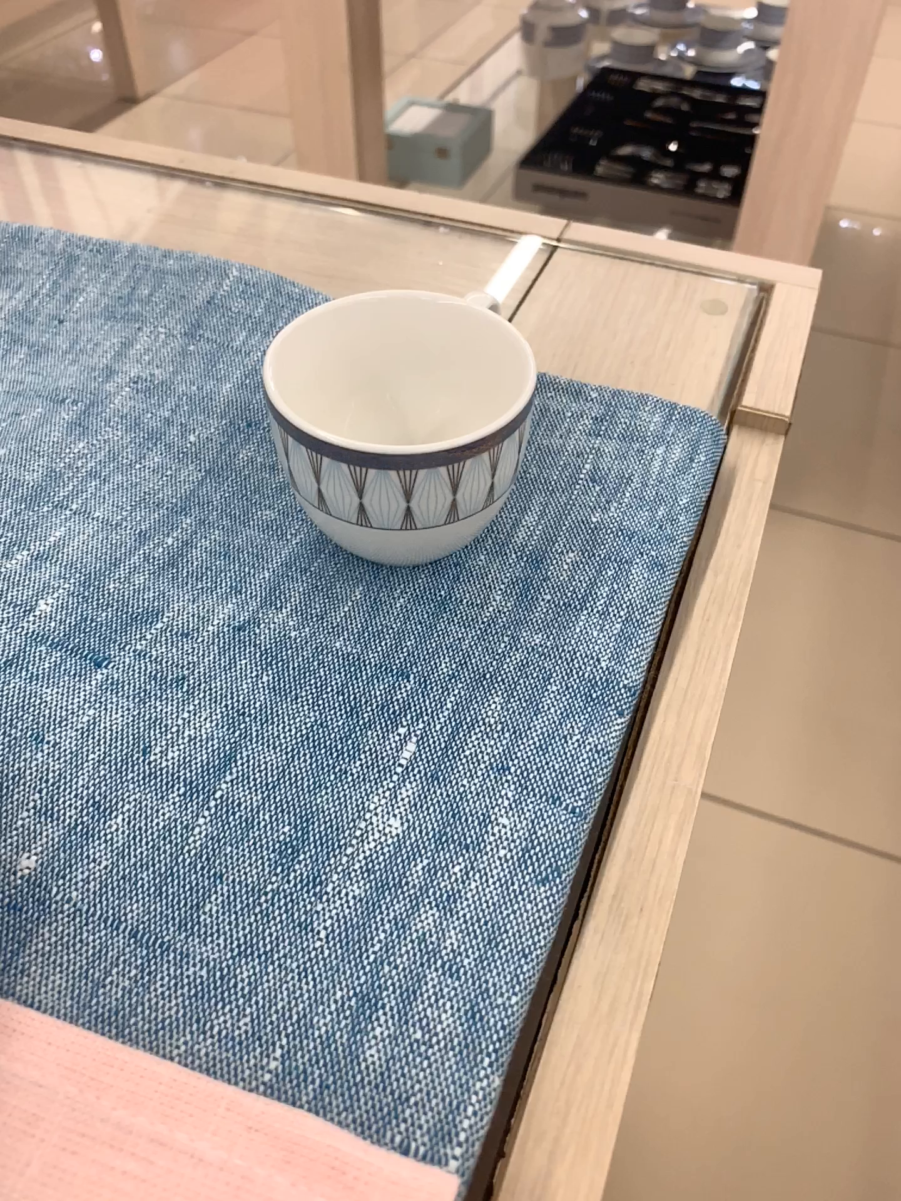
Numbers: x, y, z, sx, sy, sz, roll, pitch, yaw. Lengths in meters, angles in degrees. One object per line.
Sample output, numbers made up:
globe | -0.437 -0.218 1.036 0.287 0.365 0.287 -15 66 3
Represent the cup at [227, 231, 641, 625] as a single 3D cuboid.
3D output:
cup | 0.001 -0.048 0.235 0.070 0.040 0.090 15 49 13
